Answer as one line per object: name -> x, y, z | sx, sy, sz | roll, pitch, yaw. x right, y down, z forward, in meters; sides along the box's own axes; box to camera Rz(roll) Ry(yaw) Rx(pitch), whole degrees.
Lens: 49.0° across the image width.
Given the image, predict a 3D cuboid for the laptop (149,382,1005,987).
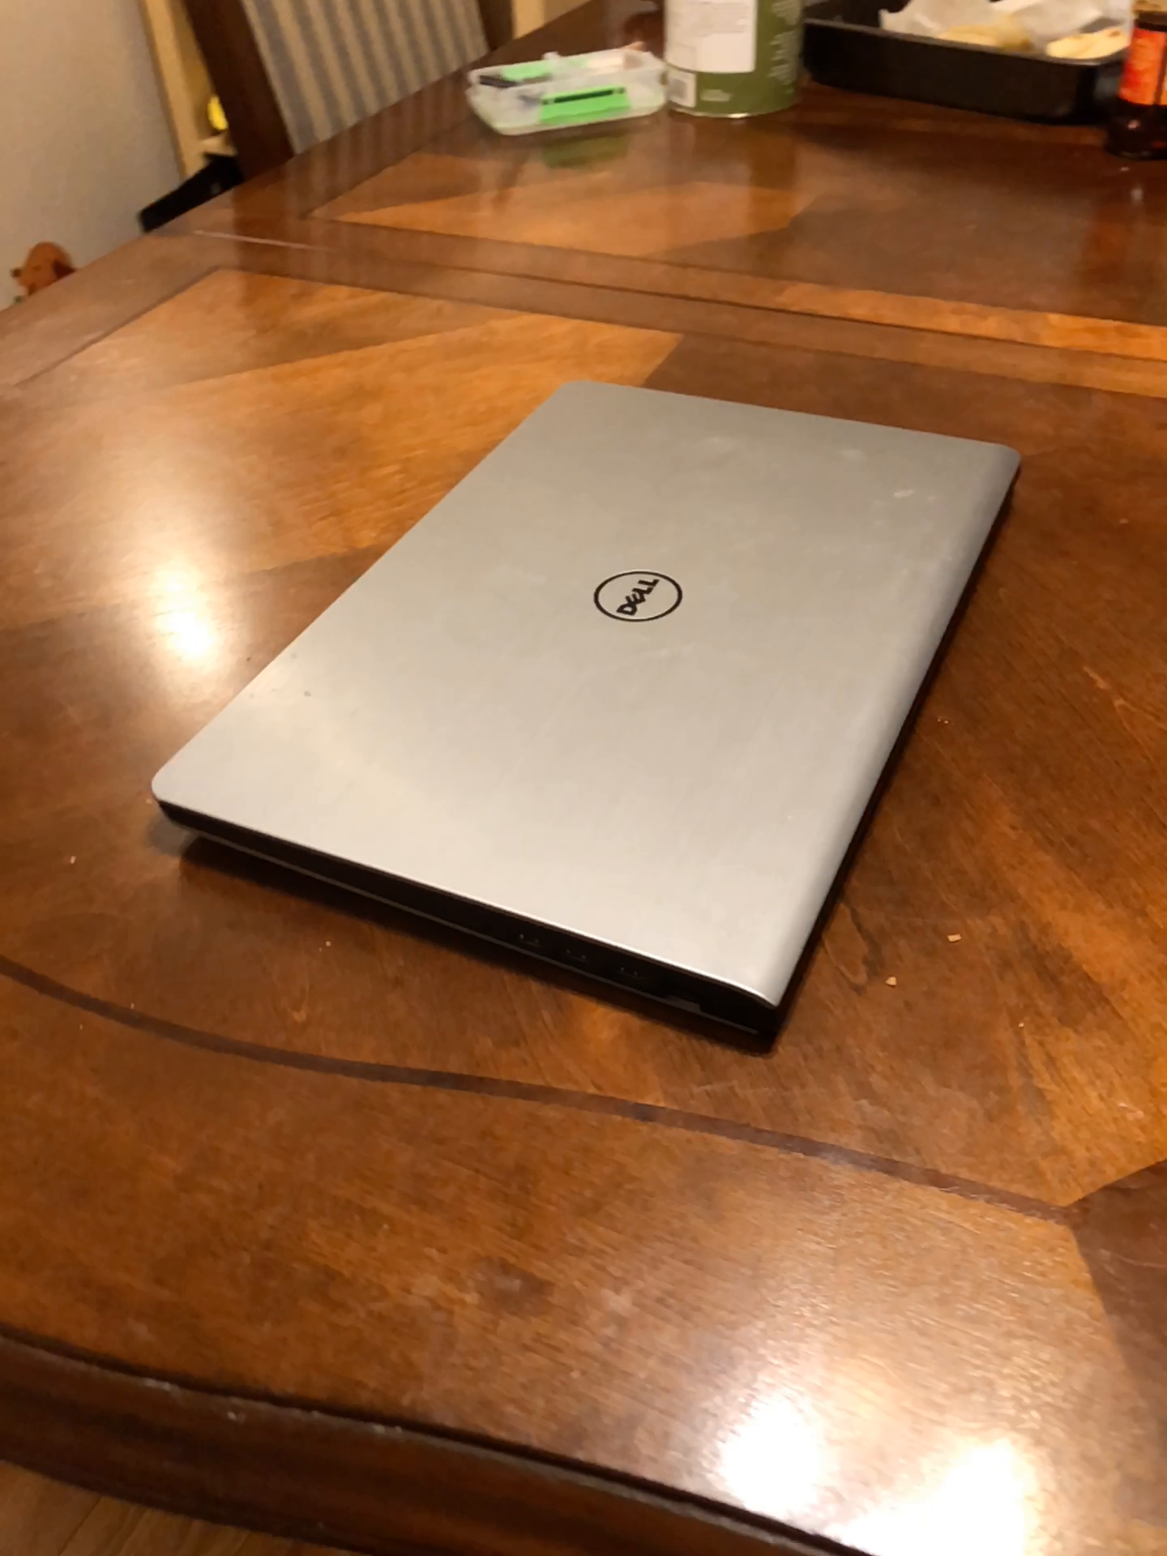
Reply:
laptop -> 0.023, -0.079, 0.562 | 0.244, 0.002, 0.365 | 15, 45, 20
